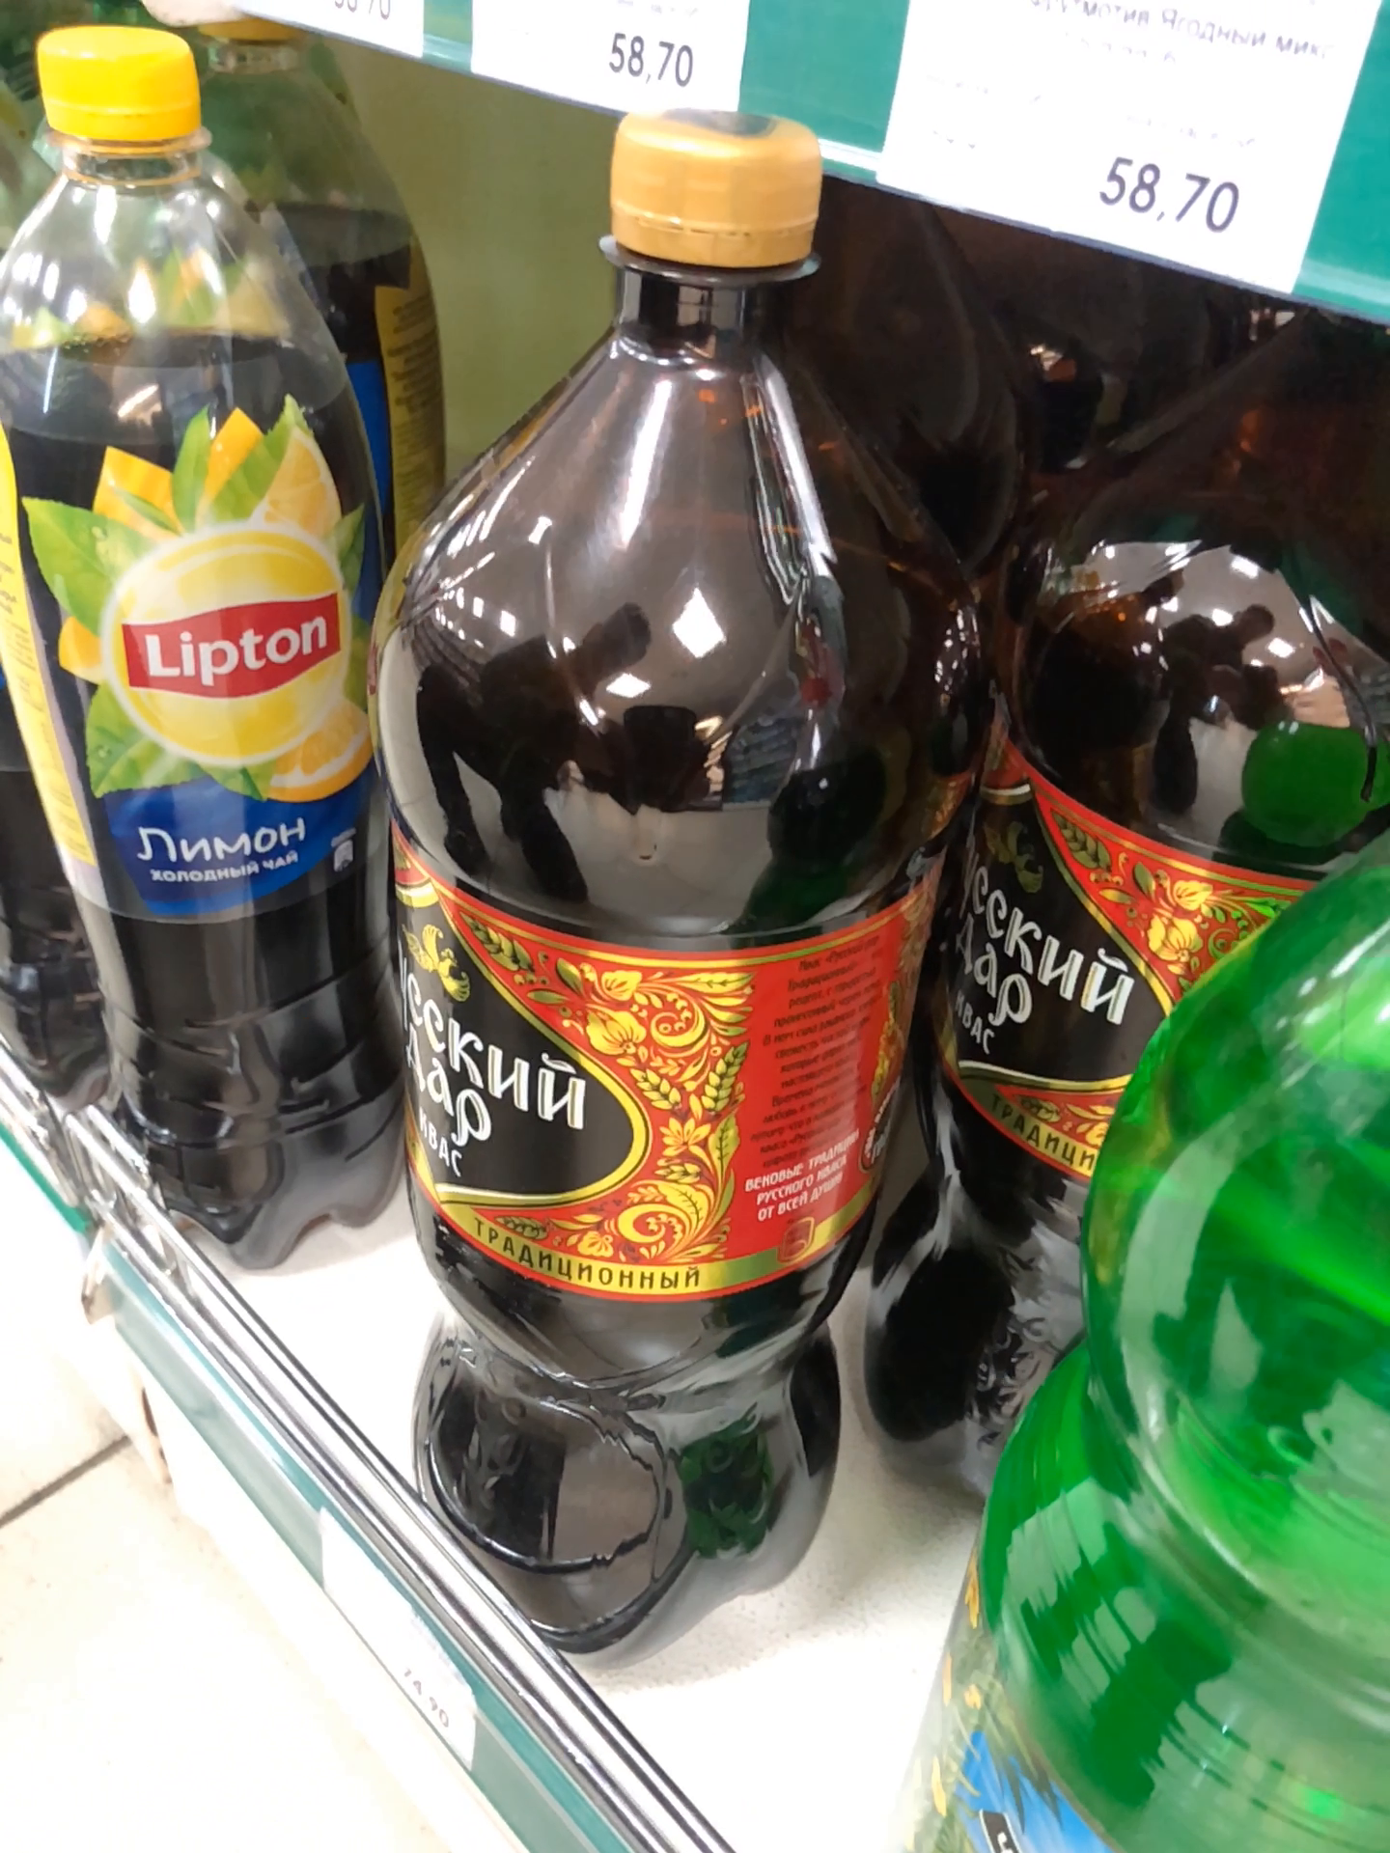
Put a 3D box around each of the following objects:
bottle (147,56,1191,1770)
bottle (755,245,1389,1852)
[{"bbox_3d":[-0.014,0.017,0.313,0.100,0.322,0.110,-25,45,-32],"label":"bottle"},{"bbox_3d":[0.085,0.091,0.225,0.085,0.327,0.099,-25,45,-32],"label":"bottle"}]
